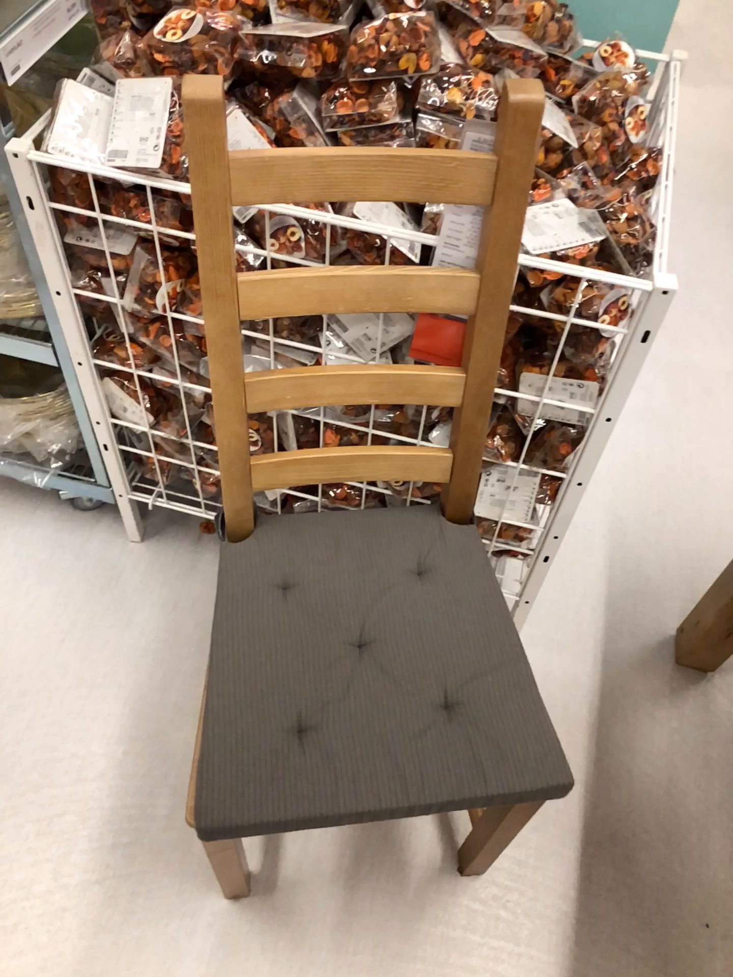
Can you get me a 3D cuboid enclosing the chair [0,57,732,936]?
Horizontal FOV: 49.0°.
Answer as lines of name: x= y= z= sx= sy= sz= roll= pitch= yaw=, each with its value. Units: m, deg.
chair: x=-0.014 y=0.119 z=0.870 sx=0.430 sy=0.915 sz=0.473 roll=-3 pitch=53 yaw=-7
